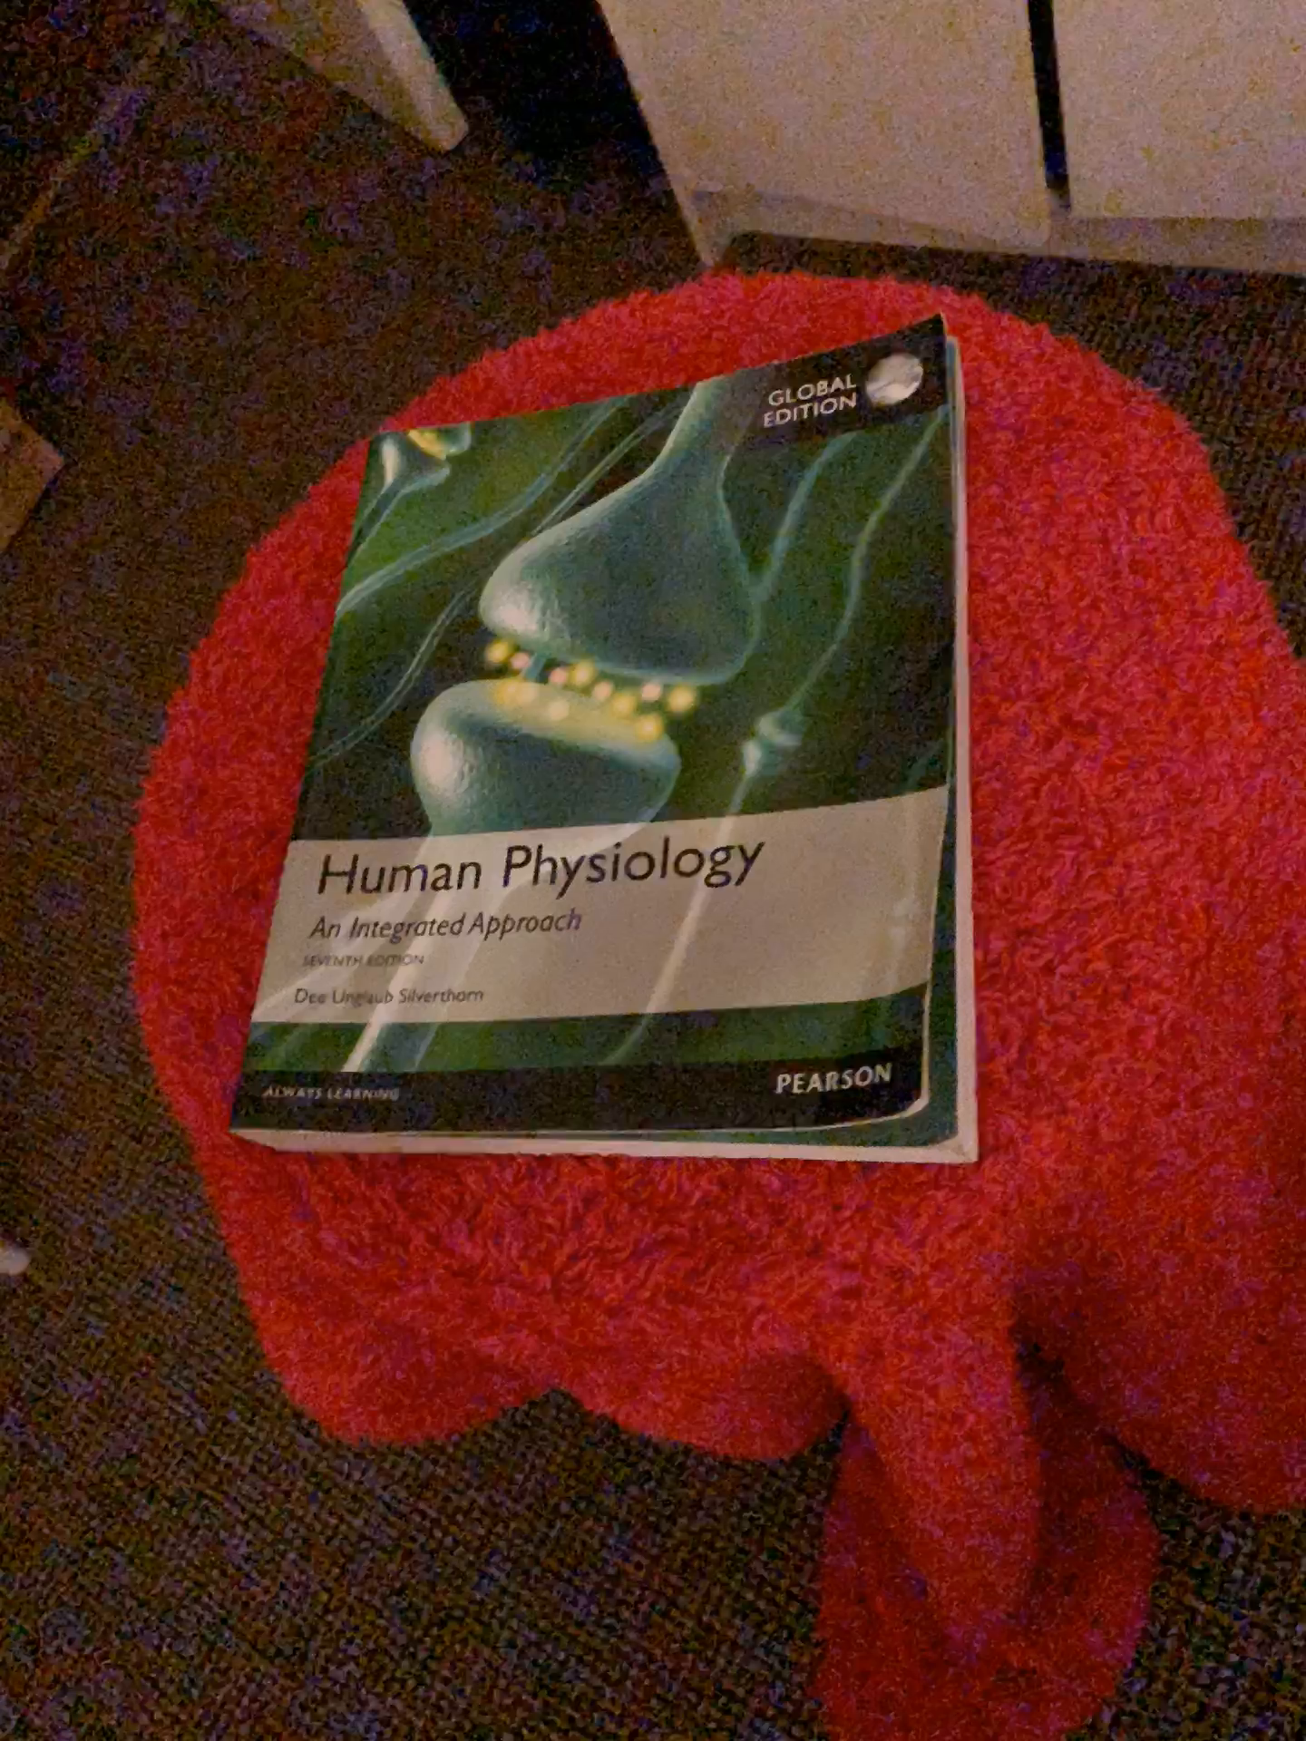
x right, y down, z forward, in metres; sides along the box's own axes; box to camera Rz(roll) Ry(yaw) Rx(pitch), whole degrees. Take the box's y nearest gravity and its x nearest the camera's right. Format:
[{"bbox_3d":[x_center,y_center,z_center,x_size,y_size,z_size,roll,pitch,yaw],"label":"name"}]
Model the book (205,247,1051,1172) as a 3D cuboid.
[{"bbox_3d":[0.002,-0.056,0.469,0.251,0.070,0.301,-4,64,20],"label":"book"}]
